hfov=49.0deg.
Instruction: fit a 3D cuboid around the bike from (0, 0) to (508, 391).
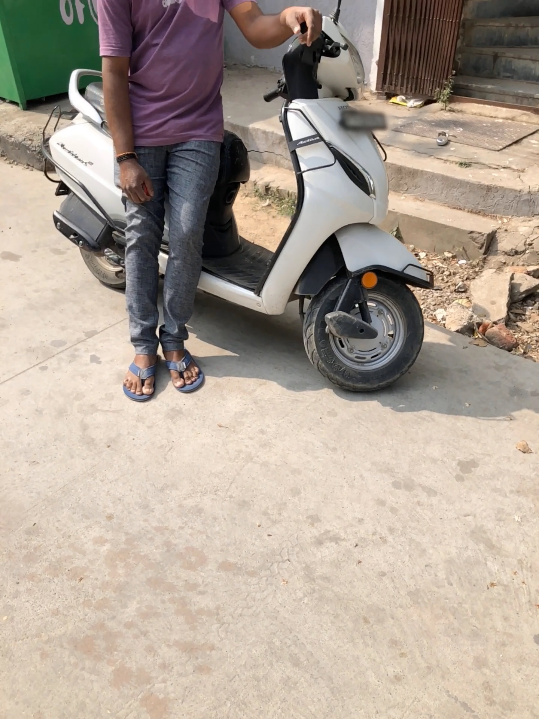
[{"bbox_3d":[-0.085,-0.687,2.196,1.520,1.007,0.651,18,39,23],"label":"bike"}]
